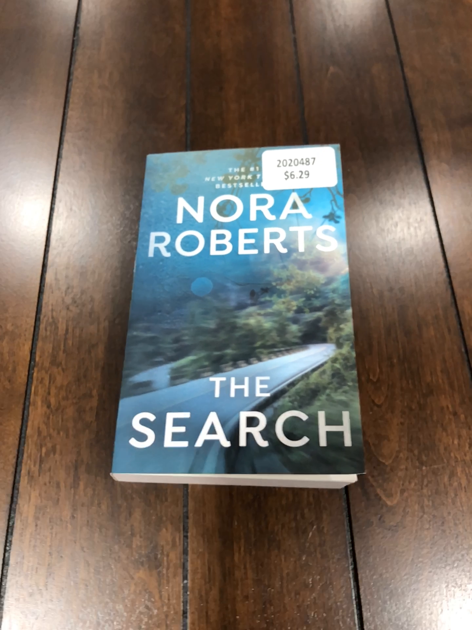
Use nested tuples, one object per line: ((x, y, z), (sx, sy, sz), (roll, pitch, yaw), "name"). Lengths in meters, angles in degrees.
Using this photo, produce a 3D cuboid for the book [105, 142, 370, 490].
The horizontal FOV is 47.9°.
((0.004, -0.003, 0.273), (0.108, 0.050, 0.170), (0, 65, 5), "book")
